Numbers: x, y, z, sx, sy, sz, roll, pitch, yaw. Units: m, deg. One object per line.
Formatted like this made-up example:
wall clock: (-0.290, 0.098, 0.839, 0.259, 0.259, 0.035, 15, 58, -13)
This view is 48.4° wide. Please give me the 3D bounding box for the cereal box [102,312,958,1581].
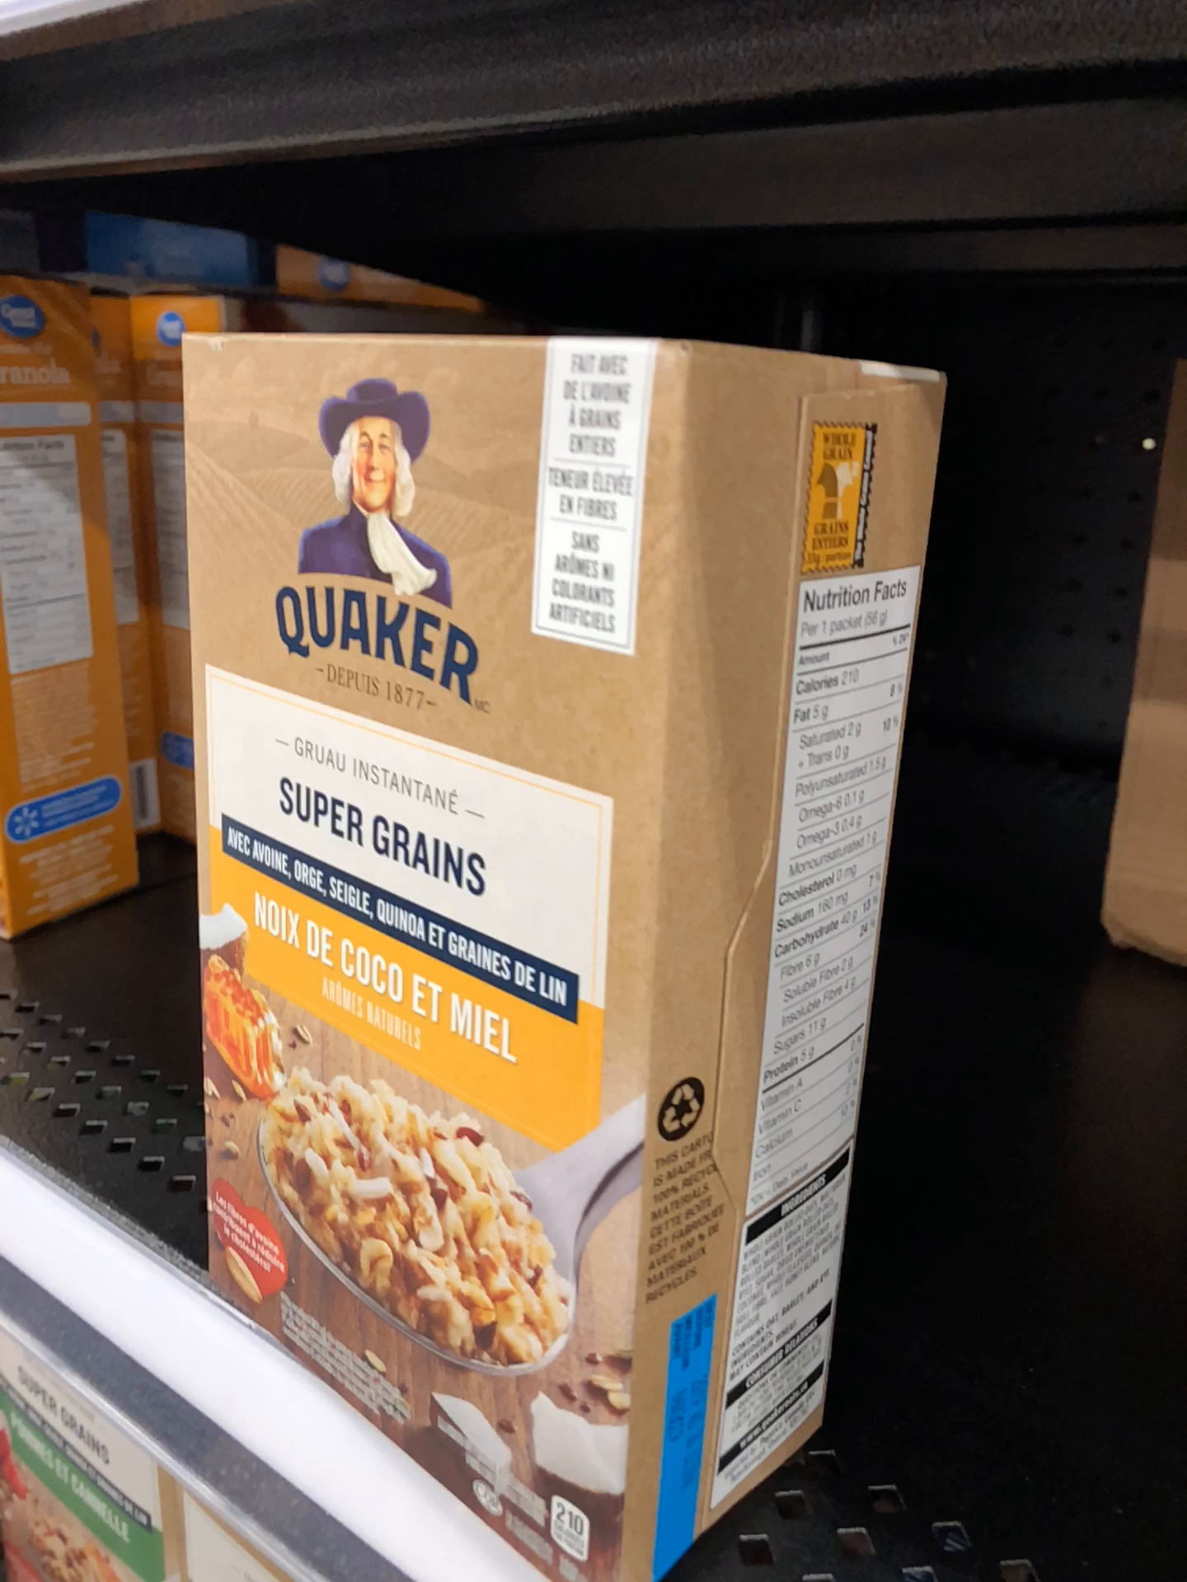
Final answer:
cereal box: (-0.019, 0.021, 0.238, 0.130, 0.199, 0.060, 17, 23, 39)
